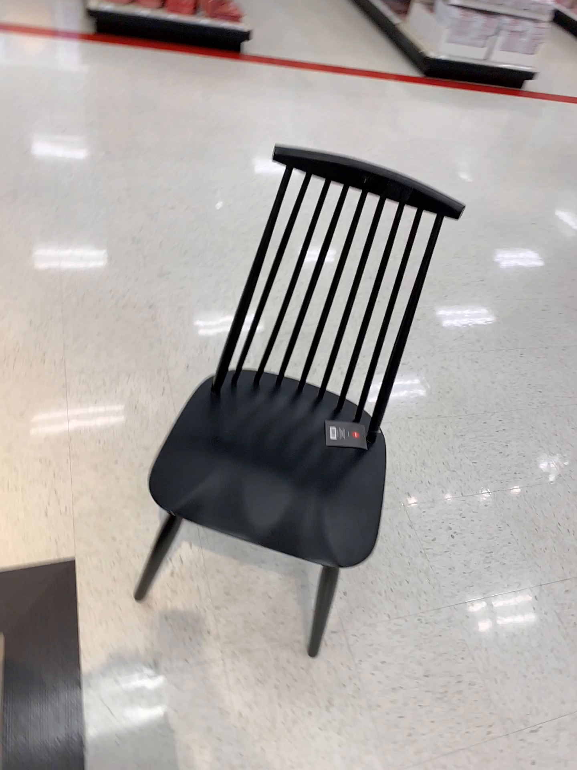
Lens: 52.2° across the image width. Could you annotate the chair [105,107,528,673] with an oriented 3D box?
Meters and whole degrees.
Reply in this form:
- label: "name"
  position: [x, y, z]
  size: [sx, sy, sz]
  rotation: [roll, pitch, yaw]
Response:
- label: "chair"
  position: [0.005, 0.072, 1.225]
  size: [0.530, 0.946, 0.553]
  rotation: [20, 45, 2]
